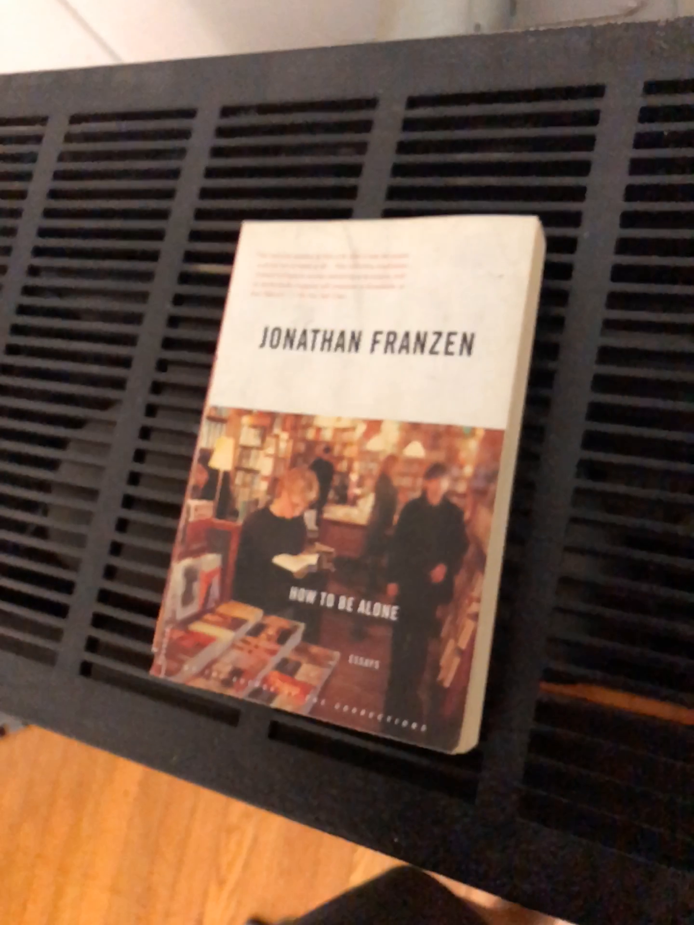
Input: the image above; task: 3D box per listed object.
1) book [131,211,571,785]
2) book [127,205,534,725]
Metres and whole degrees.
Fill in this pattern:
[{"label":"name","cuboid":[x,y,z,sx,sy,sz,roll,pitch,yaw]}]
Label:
[{"label":"book","cuboid":[0.002,0.003,0.322,0.150,0.030,0.210,5,79,24]},{"label":"book","cuboid":[-0.007,-0.008,0.349,0.150,0.030,0.210,5,79,24]}]
